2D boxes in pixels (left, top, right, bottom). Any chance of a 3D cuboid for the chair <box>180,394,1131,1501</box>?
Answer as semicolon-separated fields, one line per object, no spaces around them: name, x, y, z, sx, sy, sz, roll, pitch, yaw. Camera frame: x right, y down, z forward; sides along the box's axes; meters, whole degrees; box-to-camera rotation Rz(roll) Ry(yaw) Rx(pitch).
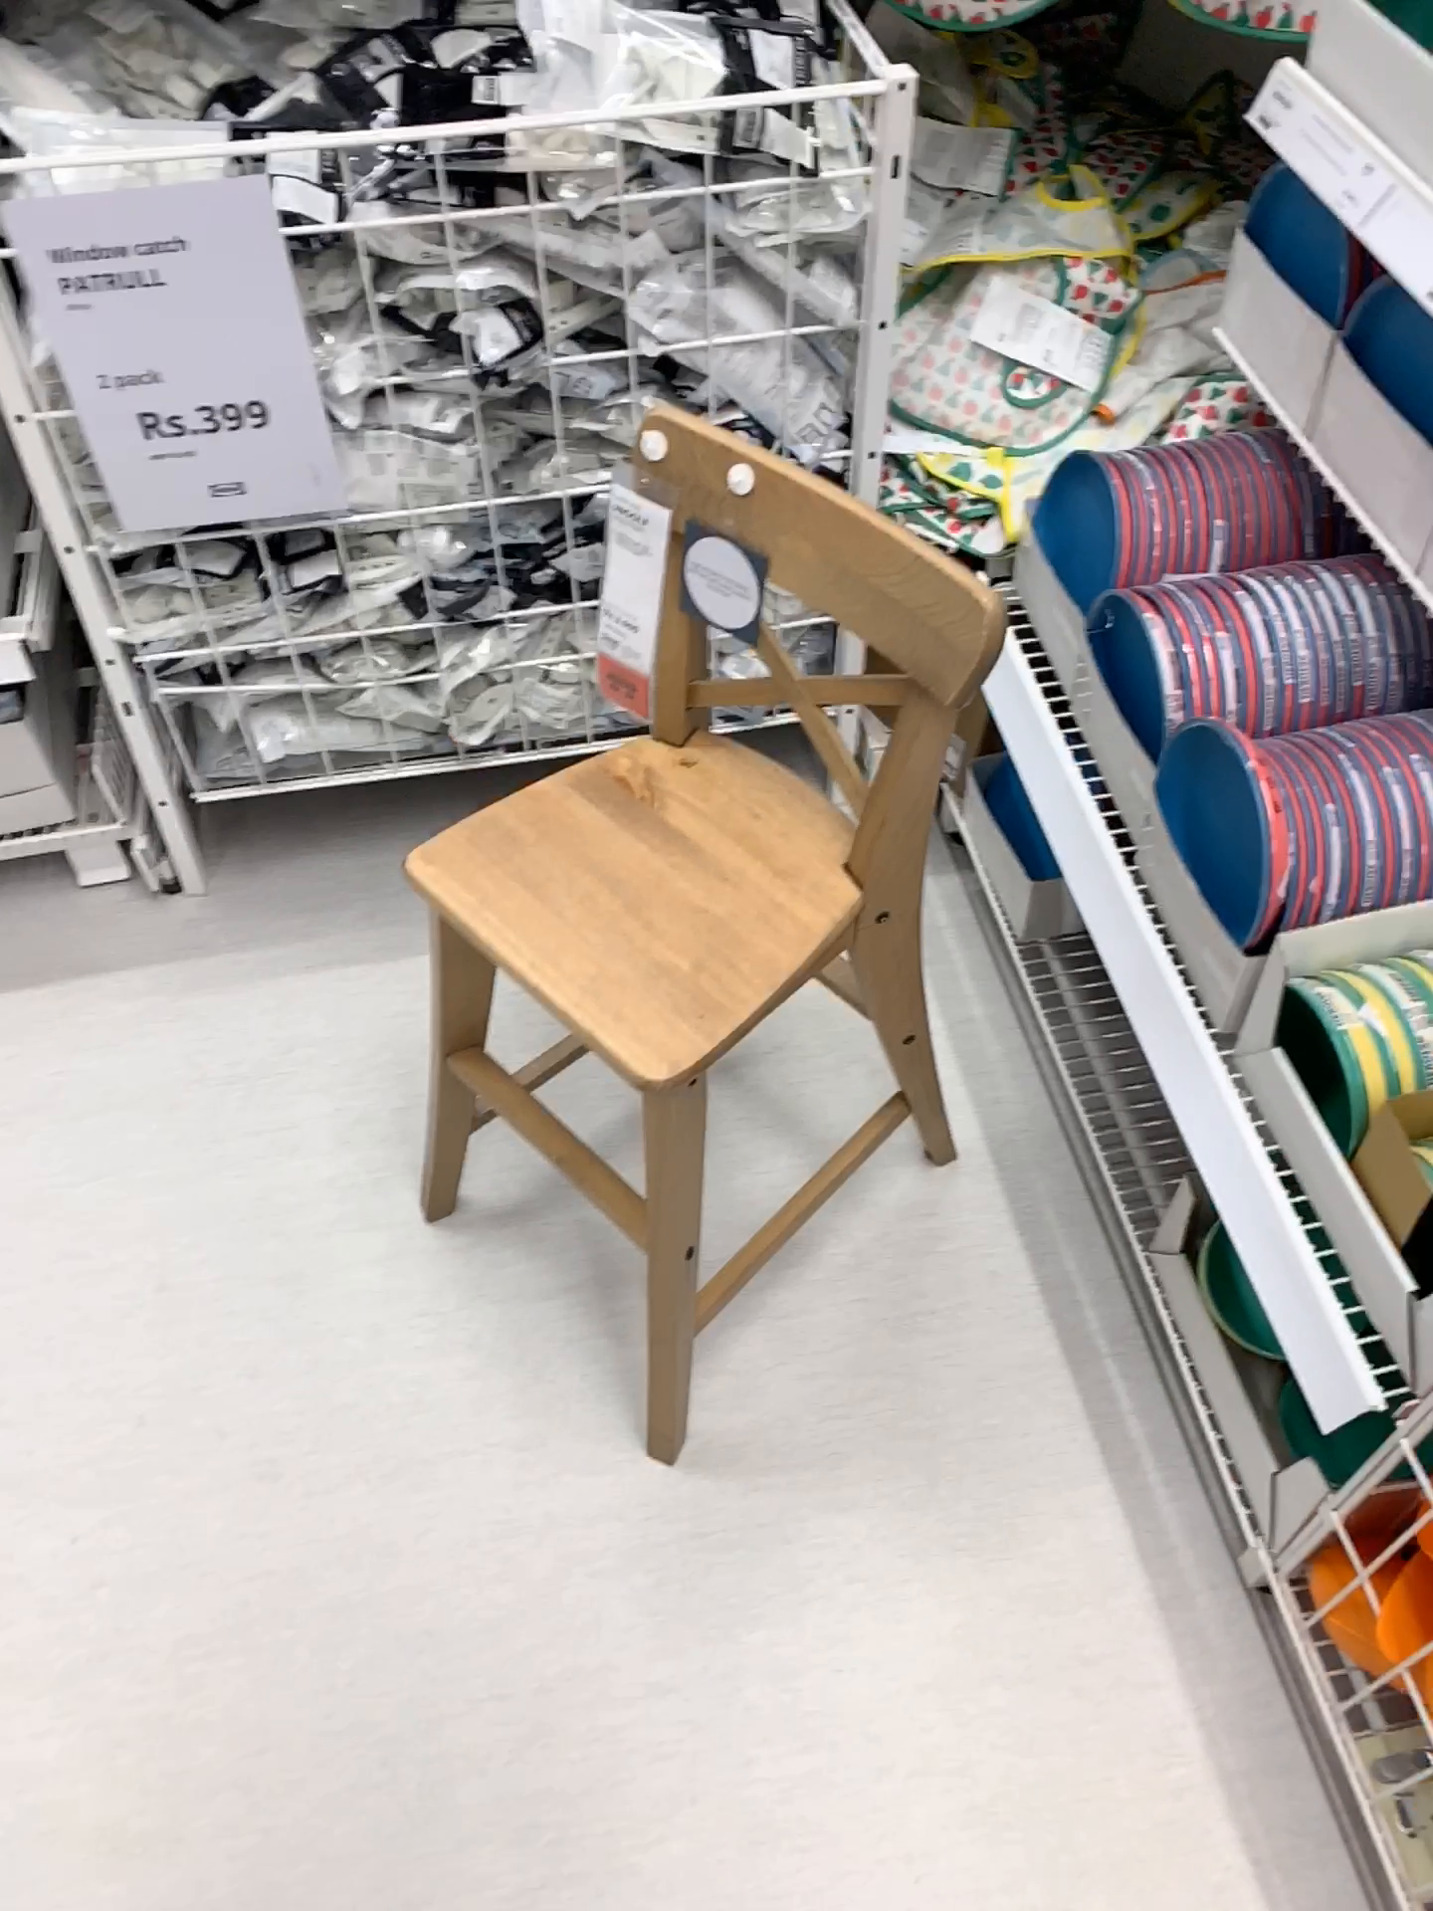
chair;-0.029;0.025;1.178;0.381;0.688;0.461;37;60;26
